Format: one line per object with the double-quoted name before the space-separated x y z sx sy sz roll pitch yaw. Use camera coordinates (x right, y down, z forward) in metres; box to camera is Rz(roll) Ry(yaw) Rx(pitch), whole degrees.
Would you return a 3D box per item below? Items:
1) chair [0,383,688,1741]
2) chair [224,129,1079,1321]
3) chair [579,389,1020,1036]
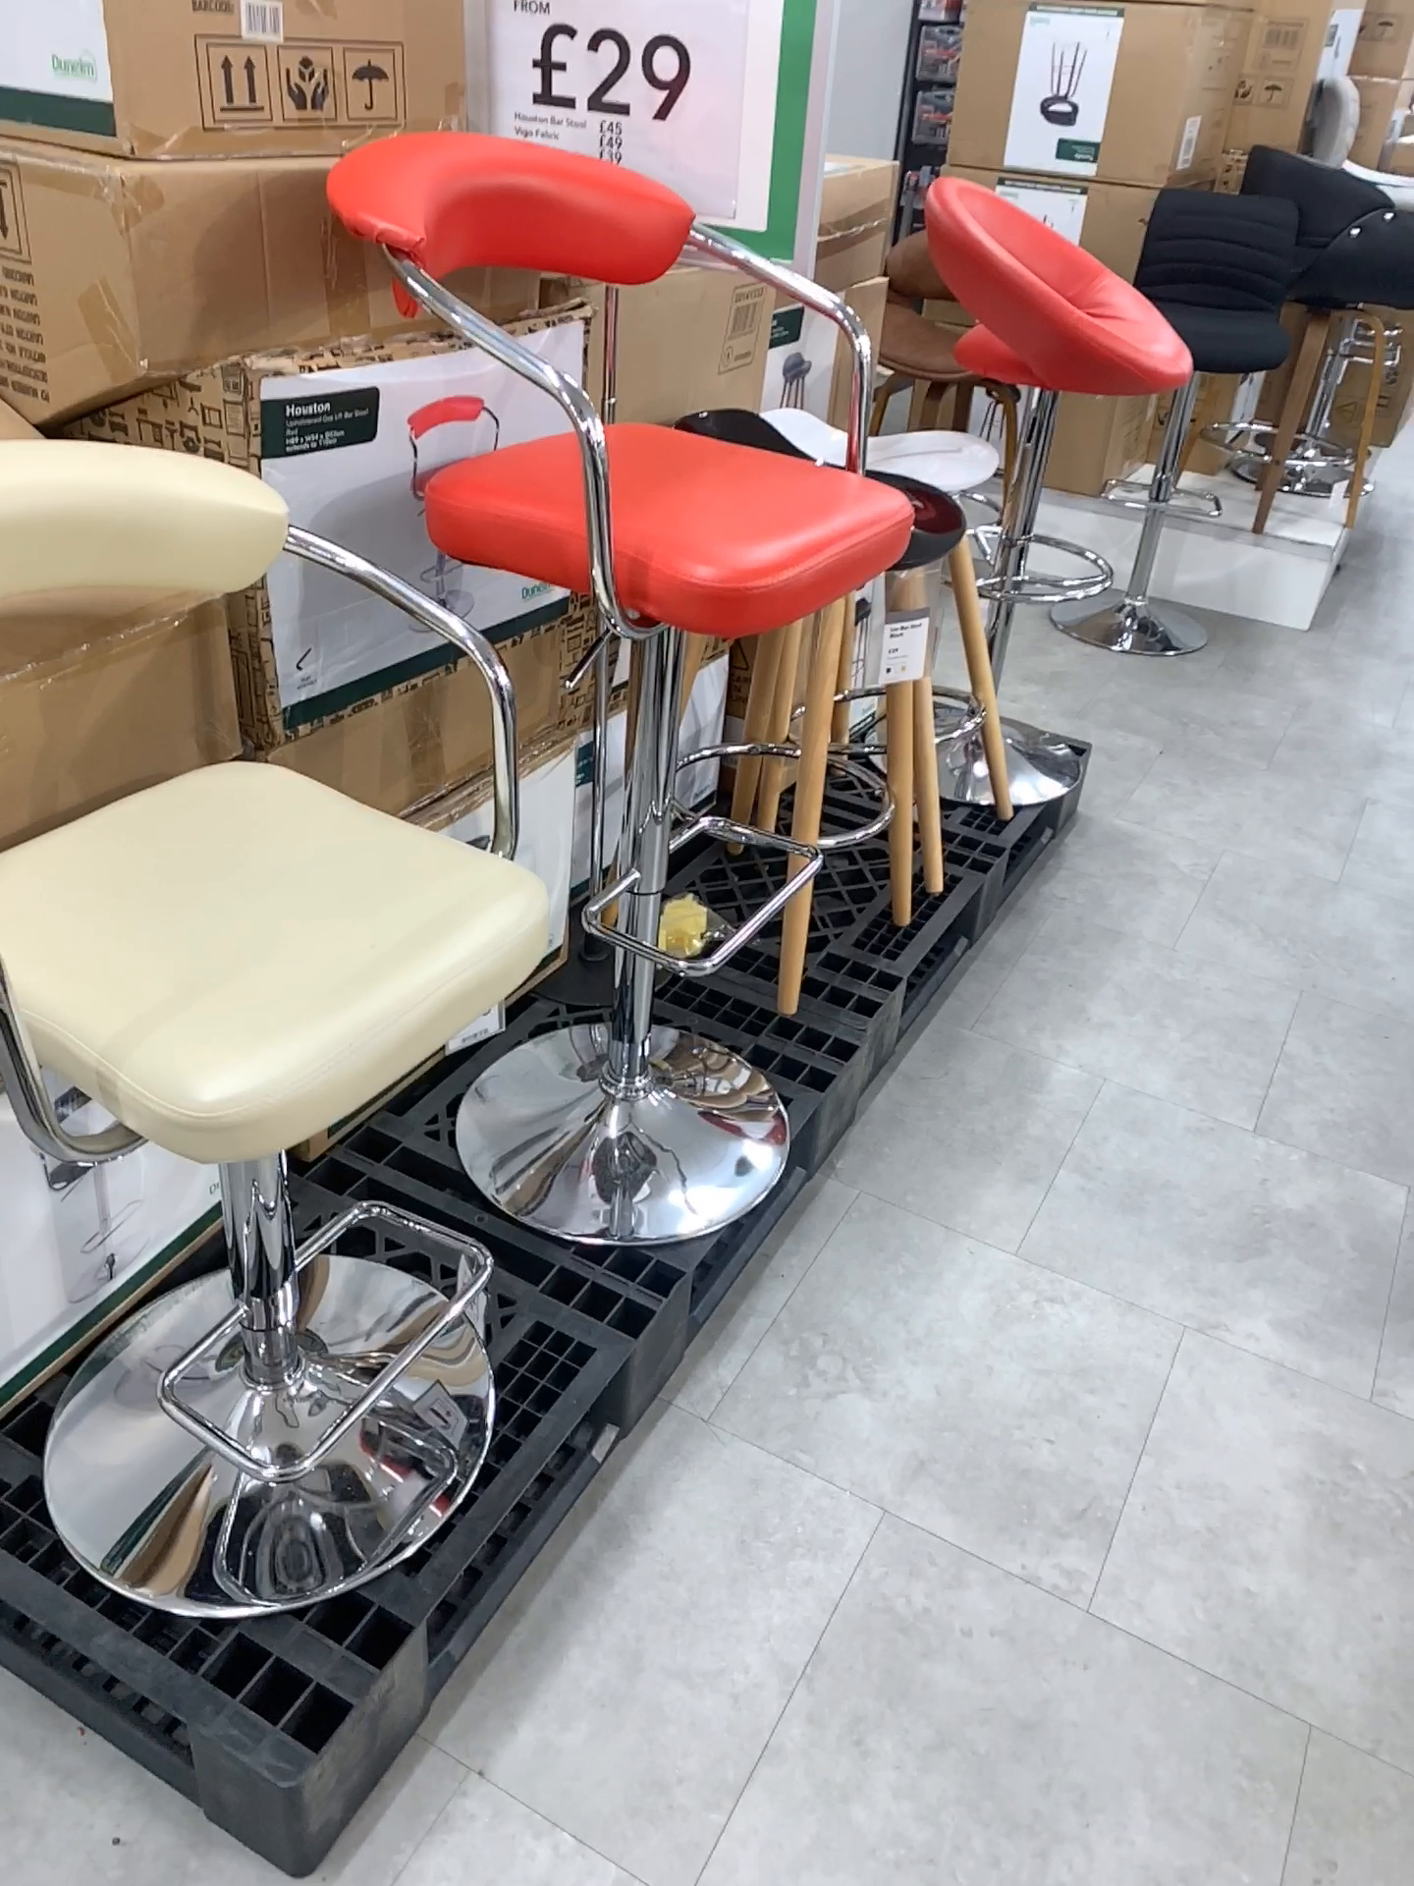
"chair" -0.362 0.070 1.144 0.459 0.838 0.499 19 35 21
"chair" -0.052 -0.239 1.463 0.529 0.977 0.529 19 35 21
"chair" 0.113 -0.330 1.991 0.389 0.709 0.428 20 35 22
